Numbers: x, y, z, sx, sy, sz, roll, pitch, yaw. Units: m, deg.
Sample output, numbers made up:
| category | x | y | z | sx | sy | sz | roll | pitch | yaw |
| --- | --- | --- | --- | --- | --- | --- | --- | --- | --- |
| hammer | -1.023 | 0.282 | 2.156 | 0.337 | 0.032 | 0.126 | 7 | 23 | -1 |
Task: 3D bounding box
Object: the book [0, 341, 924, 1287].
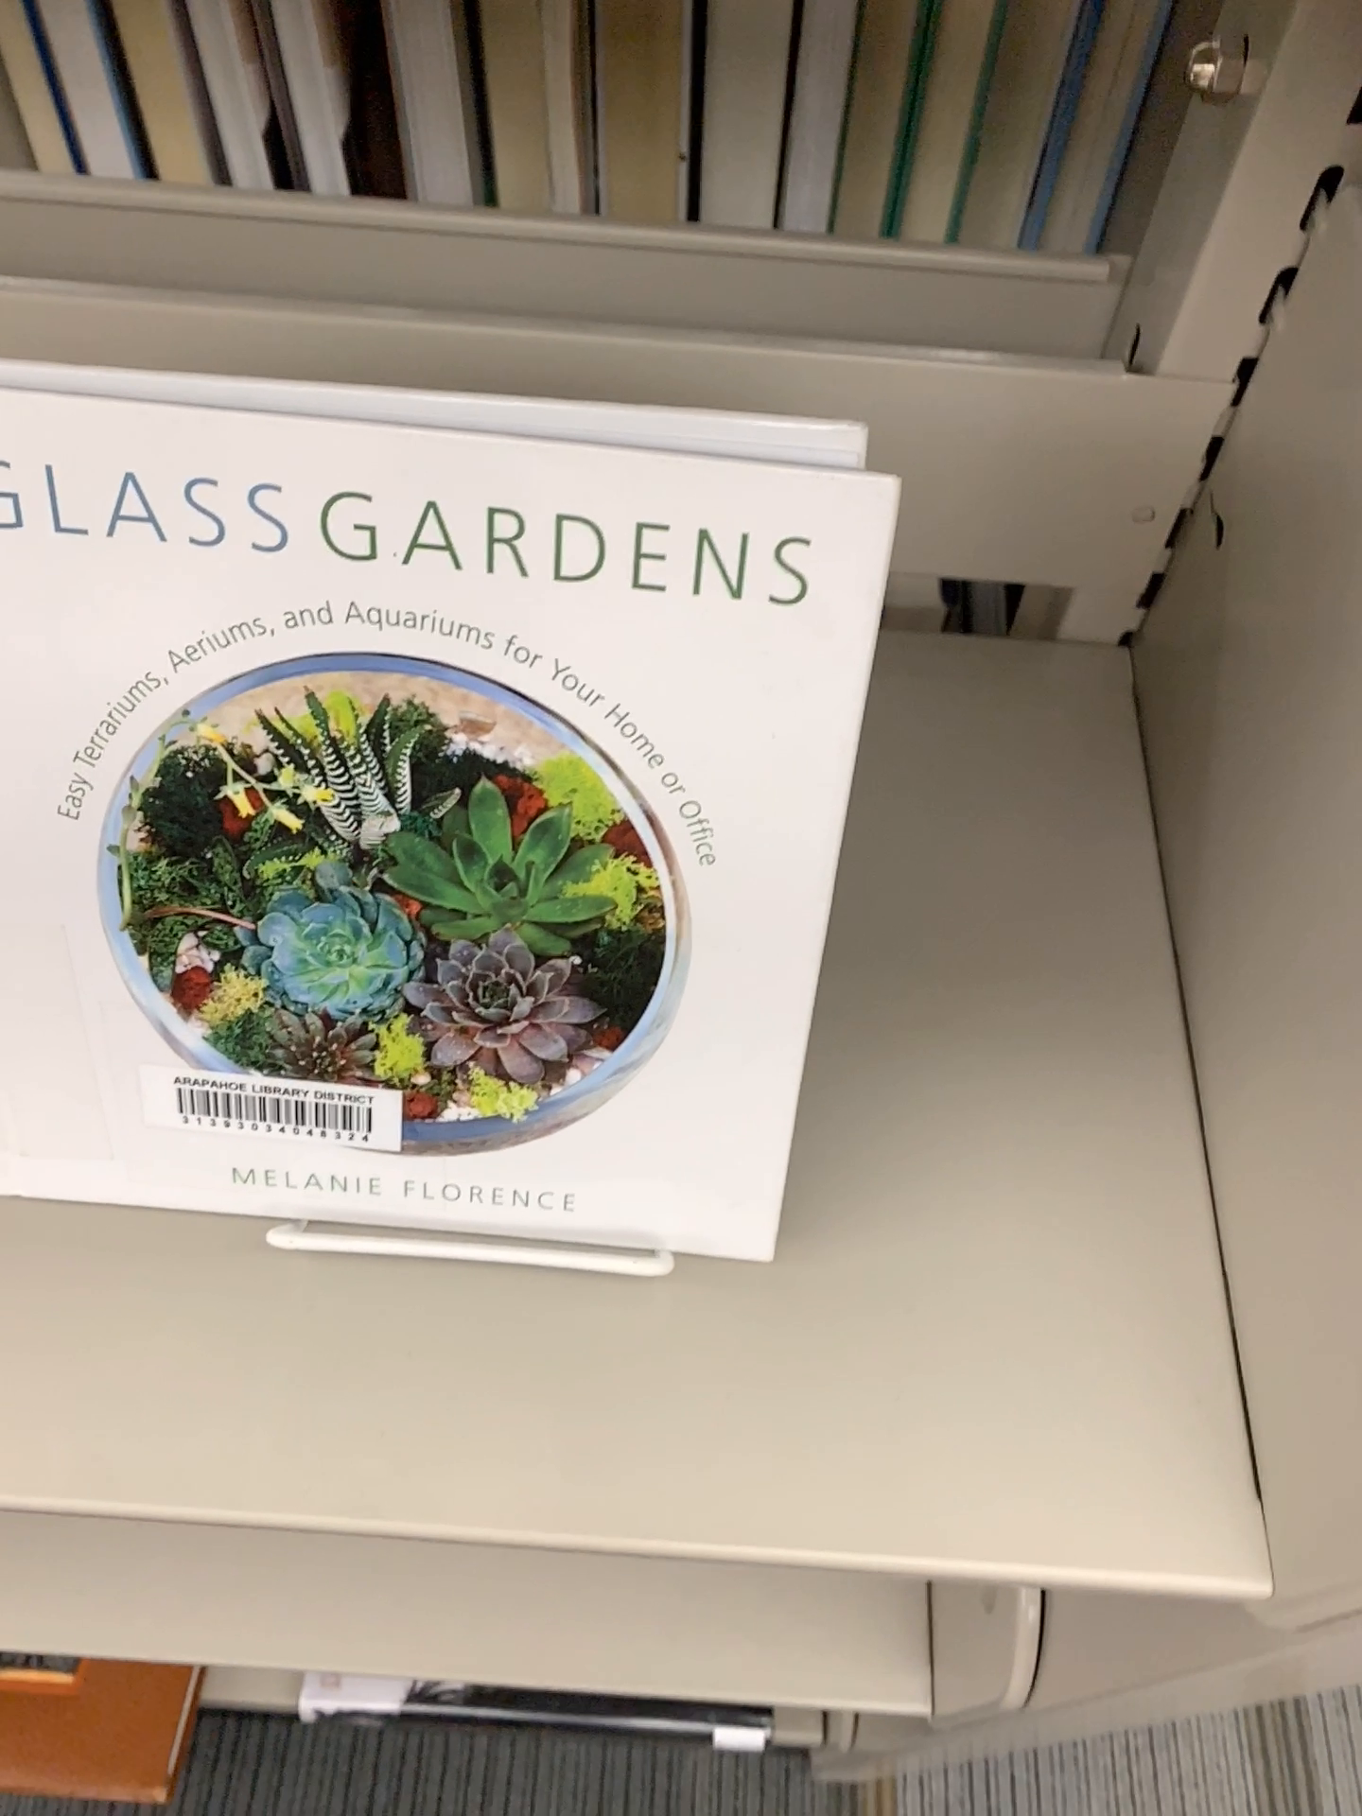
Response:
| category | x | y | z | sx | sy | sz | roll | pitch | yaw |
| --- | --- | --- | --- | --- | --- | --- | --- | --- | --- |
| book | -0.059 | -0.007 | 0.271 | 0.180 | 0.174 | 0.030 | 5 | 33 | 0 |
